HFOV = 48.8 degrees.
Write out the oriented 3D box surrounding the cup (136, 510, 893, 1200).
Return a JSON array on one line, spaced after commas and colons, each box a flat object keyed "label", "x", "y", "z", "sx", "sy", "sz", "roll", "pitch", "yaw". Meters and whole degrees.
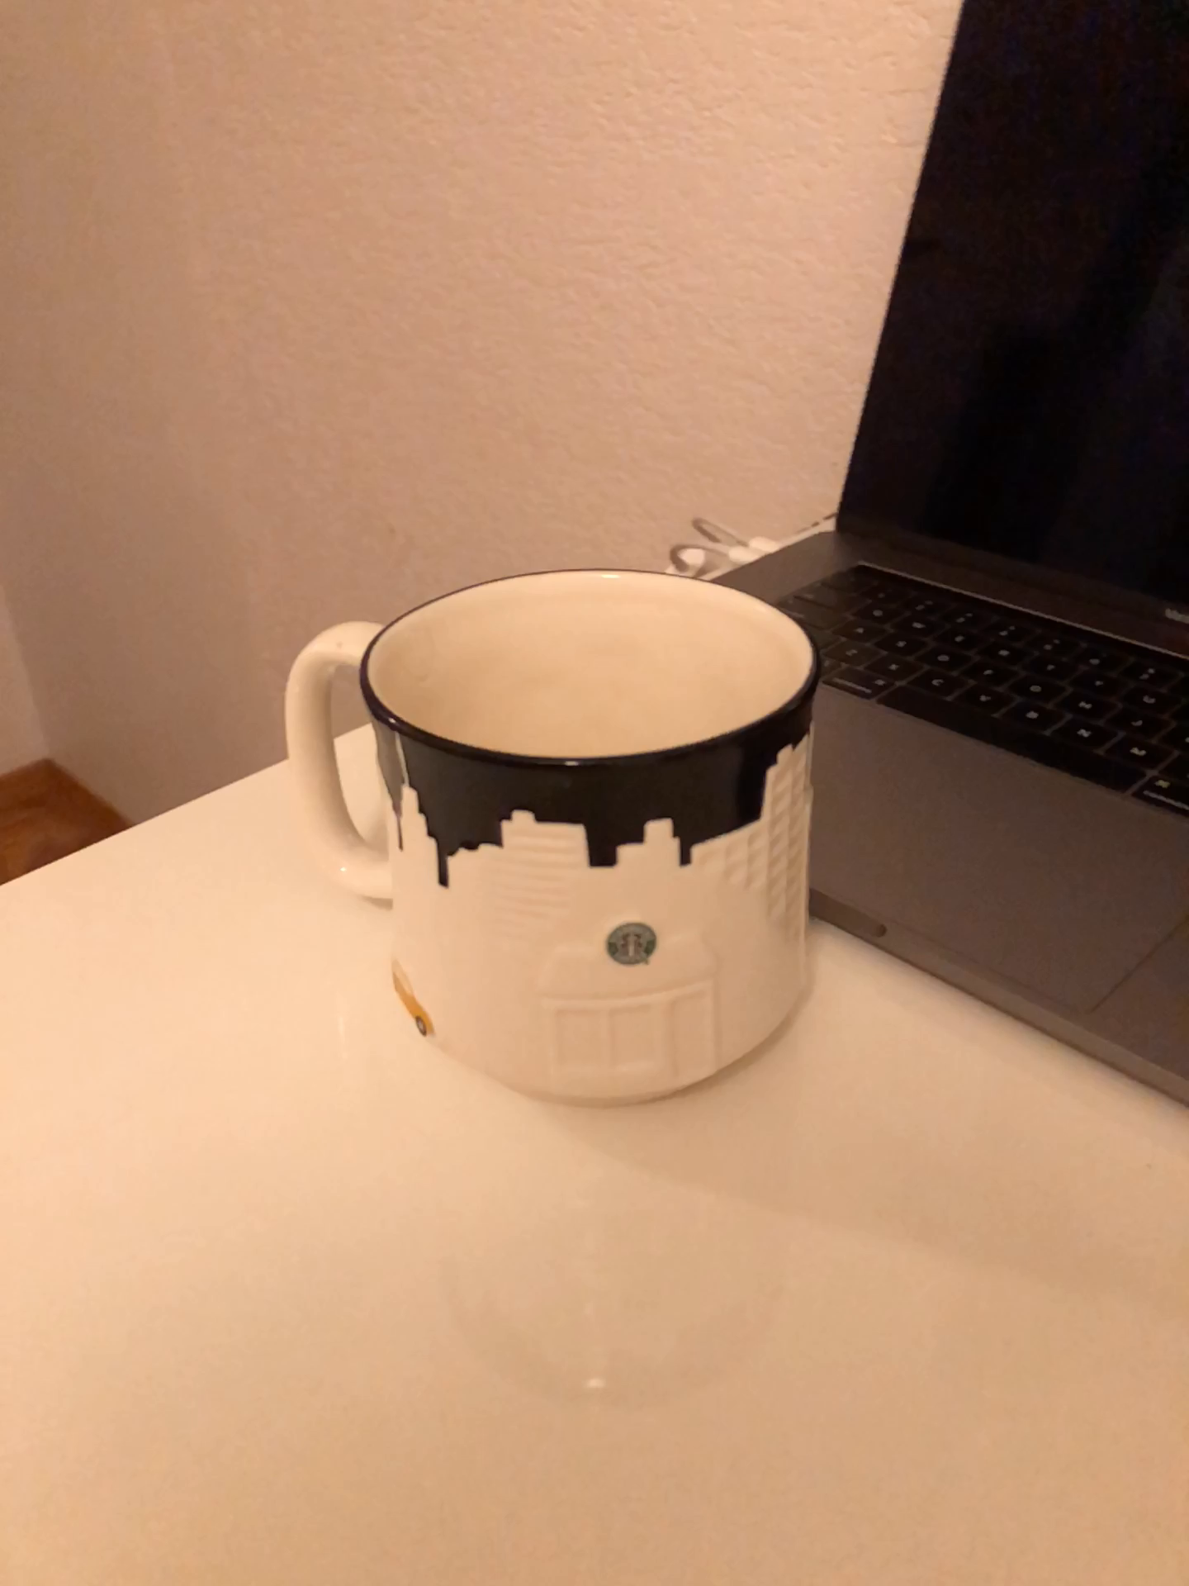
[{"label": "cup", "x": -0.016, "y": 0.005, "z": 0.339, "sx": 0.150, "sy": 0.109, "sz": 0.100, "roll": 15, "pitch": 35, "yaw": 27}]
